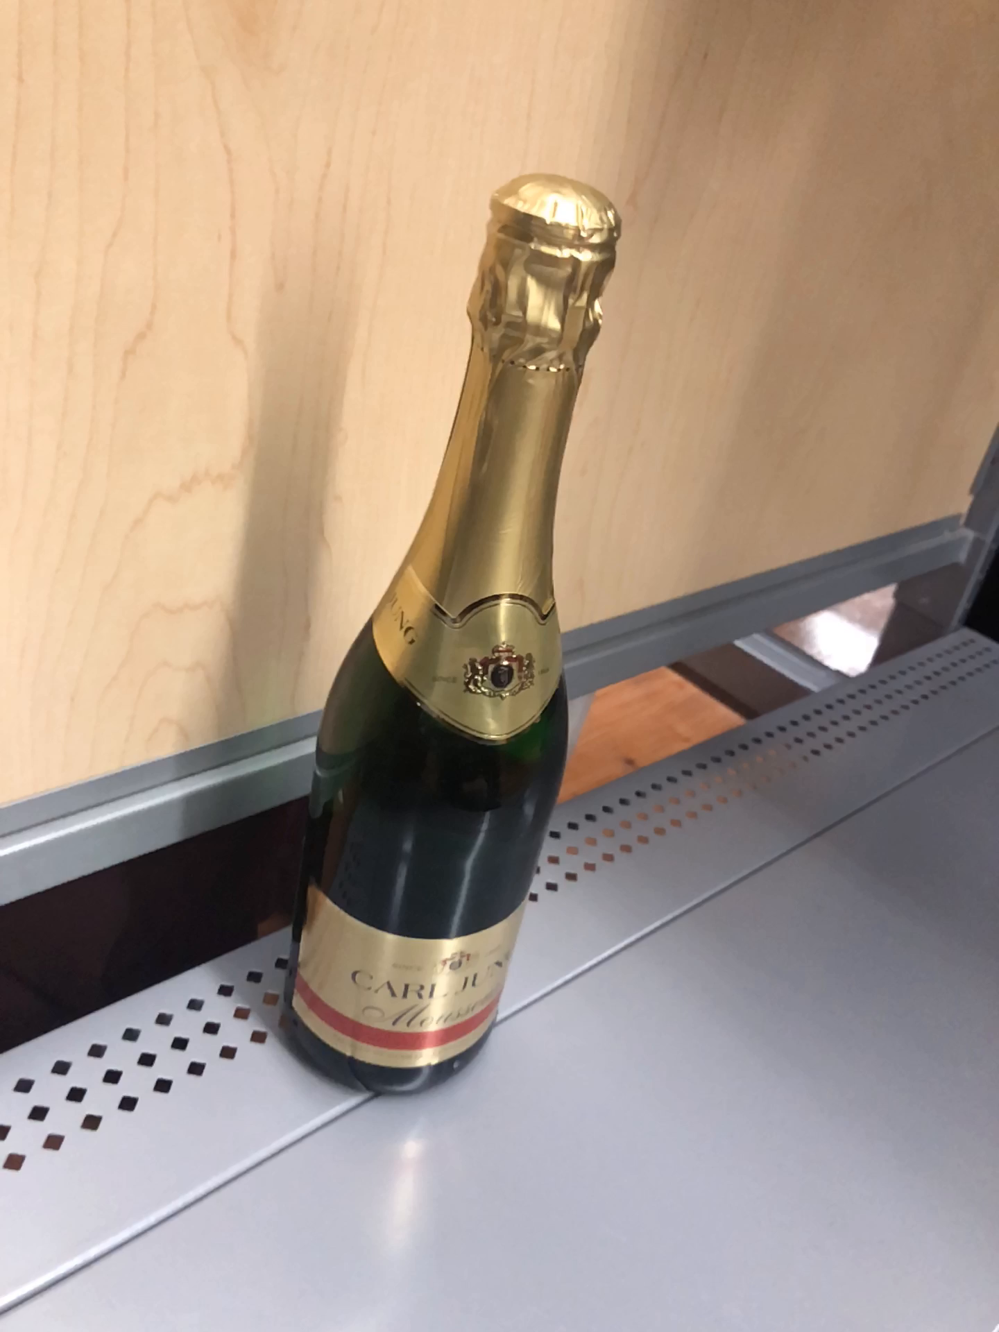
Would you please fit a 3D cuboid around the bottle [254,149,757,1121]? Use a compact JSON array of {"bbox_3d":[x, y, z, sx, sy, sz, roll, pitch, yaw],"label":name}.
[{"bbox_3d":[-0.021,0.009,0.358,0.090,0.298,0.091,9,31,-5],"label":"bottle"}]
